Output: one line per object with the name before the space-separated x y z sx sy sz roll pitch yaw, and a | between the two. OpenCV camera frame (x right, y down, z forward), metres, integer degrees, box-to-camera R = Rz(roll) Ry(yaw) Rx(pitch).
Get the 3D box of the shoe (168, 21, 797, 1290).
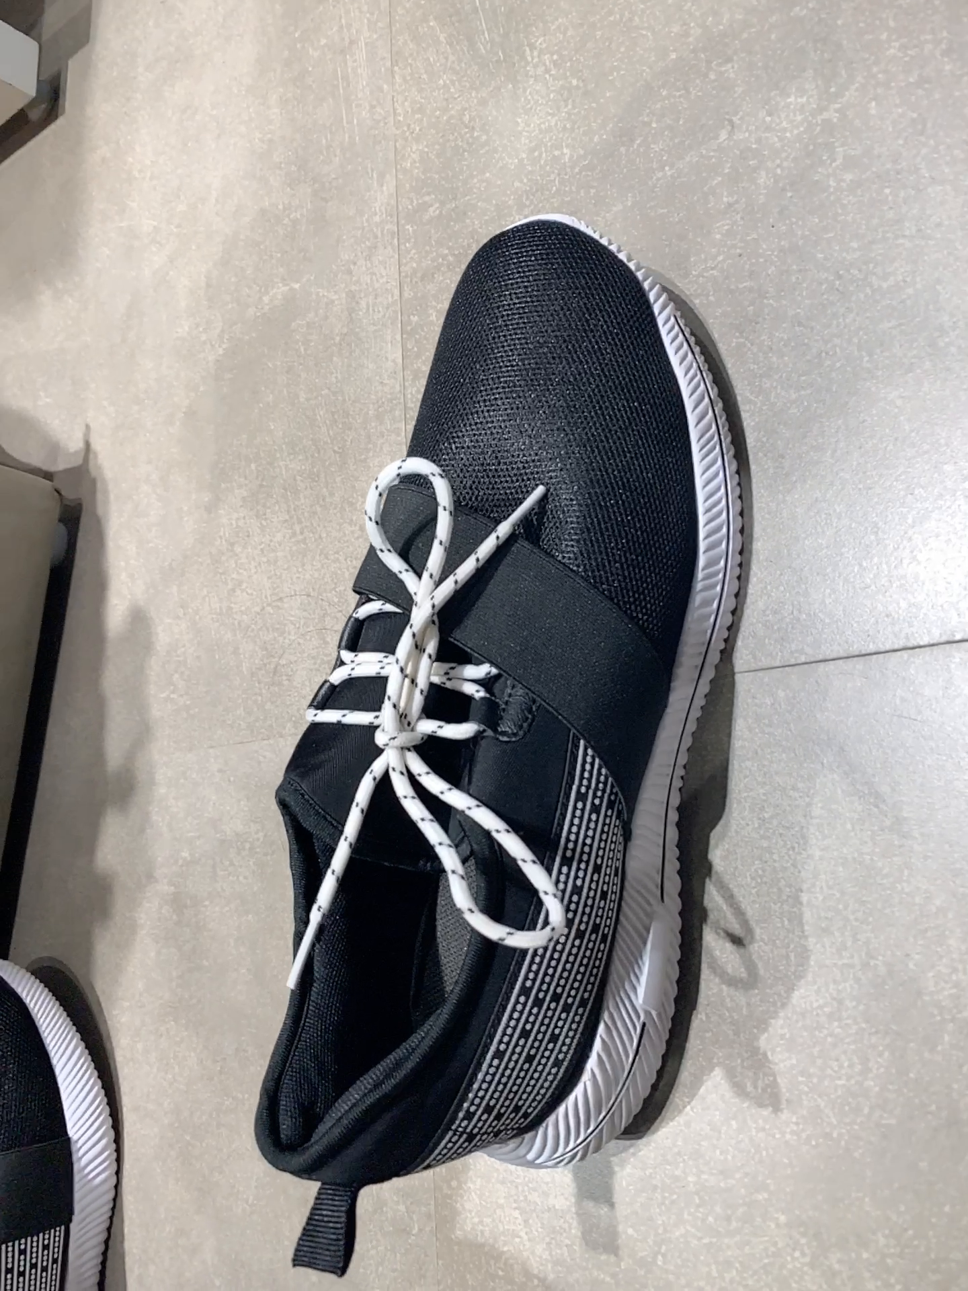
shoe | 0.009 0.011 0.309 0.117 0.131 0.304 0 83 38
